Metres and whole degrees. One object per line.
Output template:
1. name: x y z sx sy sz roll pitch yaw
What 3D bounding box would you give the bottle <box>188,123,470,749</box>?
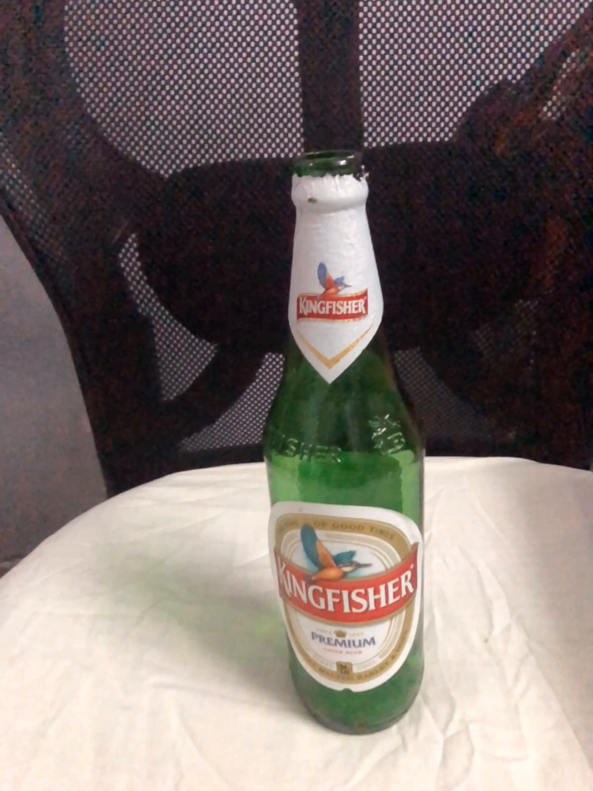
1. bottle: 0.024 0.029 0.279 0.080 0.259 0.070 4 30 15
